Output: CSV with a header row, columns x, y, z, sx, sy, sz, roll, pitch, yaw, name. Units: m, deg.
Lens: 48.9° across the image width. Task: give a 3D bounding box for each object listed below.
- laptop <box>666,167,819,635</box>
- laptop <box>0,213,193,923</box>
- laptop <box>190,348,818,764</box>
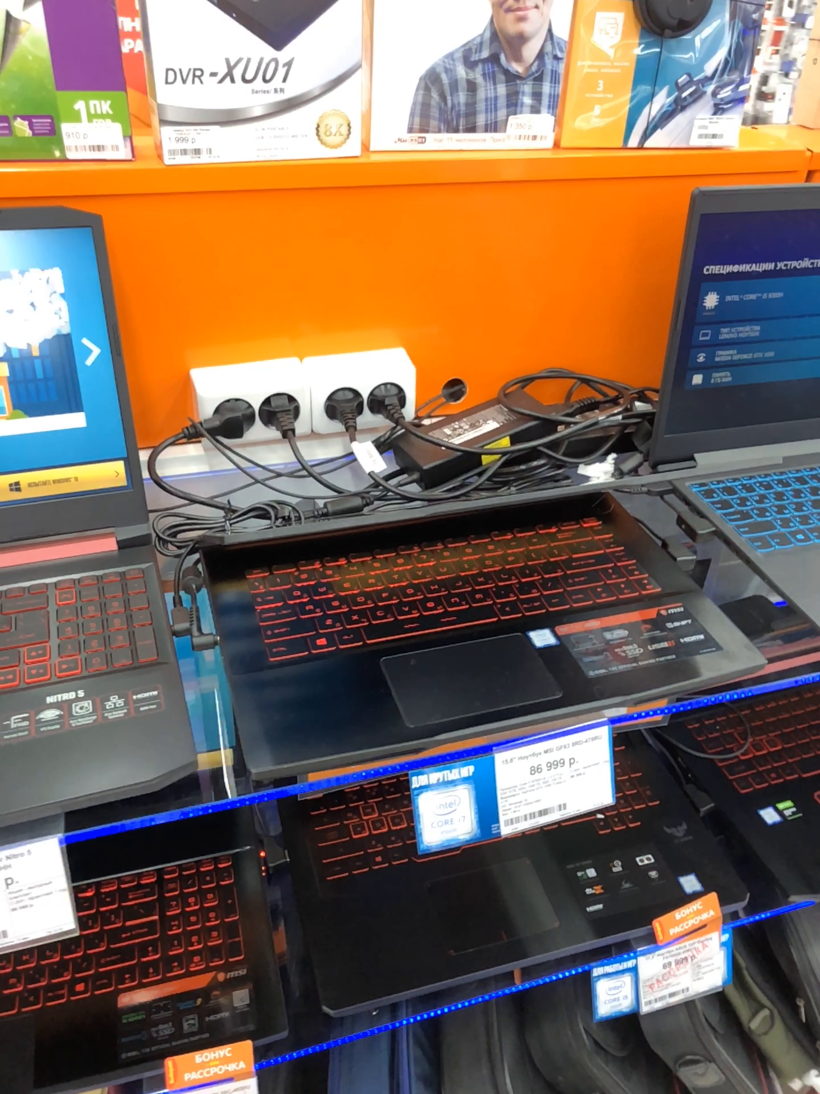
x,y,z,sx,sy,sz,roll,pitch,yaw,name
0.428,-0.139,0.722,0.326,0.228,0.279,-8,35,-11,laptop
-0.349,-0.033,0.533,0.365,0.225,0.330,-9,36,-17,laptop
0.045,-0.017,0.619,0.347,0.134,0.226,-8,36,-17,laptop
